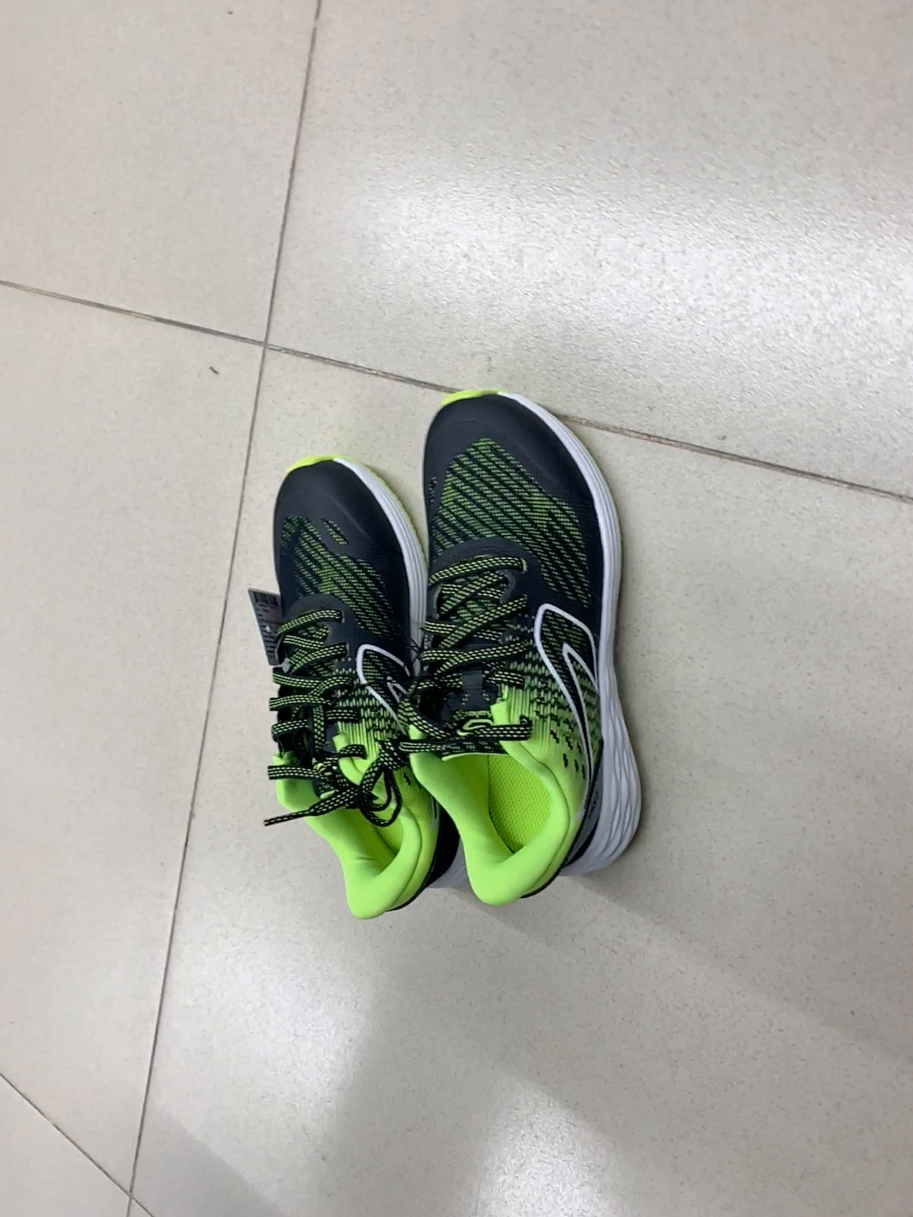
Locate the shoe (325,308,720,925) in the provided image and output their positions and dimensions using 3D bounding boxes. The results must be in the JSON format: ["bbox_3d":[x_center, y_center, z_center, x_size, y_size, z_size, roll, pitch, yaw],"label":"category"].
[{"bbox_3d":[0.034,0.005,0.428,0.091,0.109,0.240,-13,89,33],"label":"shoe"}]

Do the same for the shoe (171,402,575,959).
[{"bbox_3d":[-0.039,0.032,0.470,0.091,0.109,0.240,-19,86,33],"label":"shoe"}]
